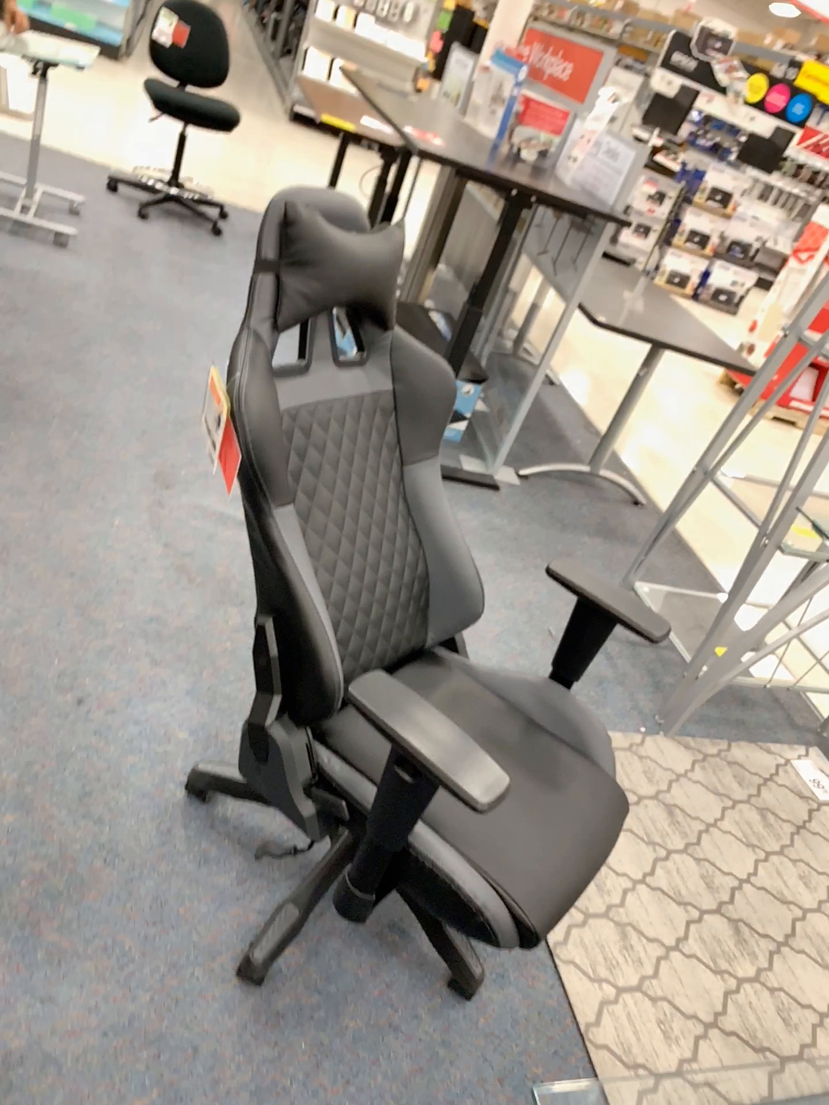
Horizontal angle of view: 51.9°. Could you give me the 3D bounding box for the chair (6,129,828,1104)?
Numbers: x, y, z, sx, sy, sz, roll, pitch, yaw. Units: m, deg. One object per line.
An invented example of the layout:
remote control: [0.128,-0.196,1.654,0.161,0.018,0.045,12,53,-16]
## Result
chair: [0.022,0.080,1.392,0.912,1.061,0.789,35,32,20]

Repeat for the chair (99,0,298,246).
chair: [-1.159,-2.288,4.381,0.676,0.982,0.874,4,35,-29]
